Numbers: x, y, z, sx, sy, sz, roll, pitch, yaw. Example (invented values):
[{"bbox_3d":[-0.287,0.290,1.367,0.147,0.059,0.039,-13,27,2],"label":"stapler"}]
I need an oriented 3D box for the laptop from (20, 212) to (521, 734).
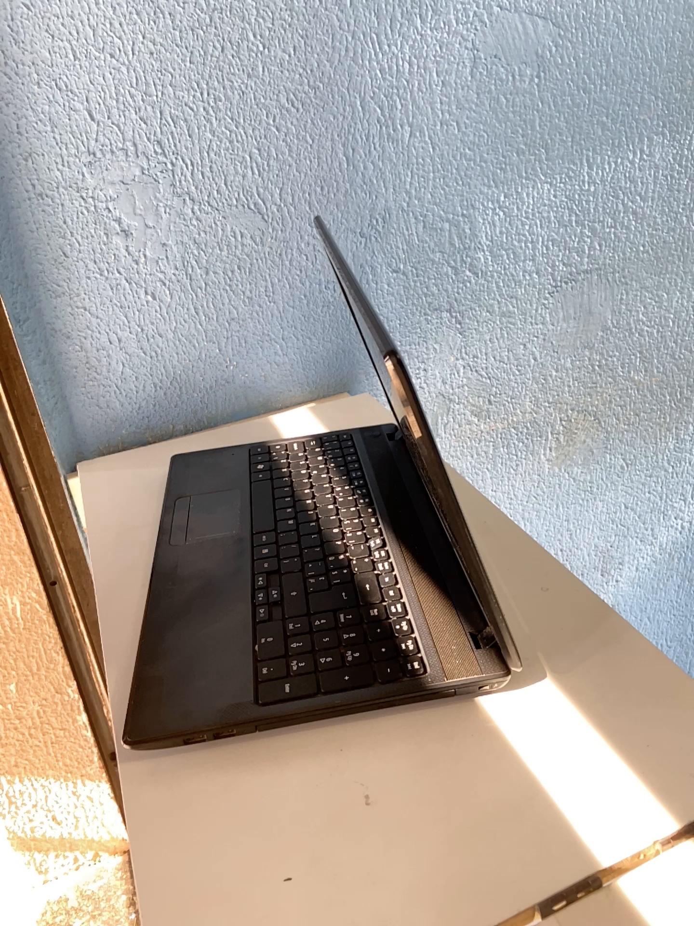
[{"bbox_3d":[-0.049,-0.036,0.576,0.253,0.234,0.376,-8,29,-5],"label":"laptop"}]
